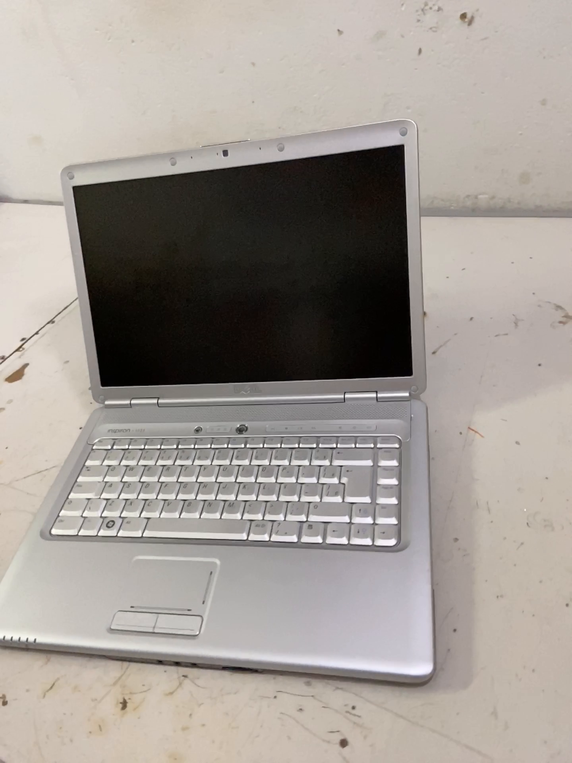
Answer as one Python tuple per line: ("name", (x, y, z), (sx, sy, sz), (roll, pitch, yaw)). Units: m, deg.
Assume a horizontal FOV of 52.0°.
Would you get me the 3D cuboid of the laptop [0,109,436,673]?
("laptop", (-0.063, -0.019, 0.484), (0.349, 0.208, 0.379), (-2, 44, 14))
